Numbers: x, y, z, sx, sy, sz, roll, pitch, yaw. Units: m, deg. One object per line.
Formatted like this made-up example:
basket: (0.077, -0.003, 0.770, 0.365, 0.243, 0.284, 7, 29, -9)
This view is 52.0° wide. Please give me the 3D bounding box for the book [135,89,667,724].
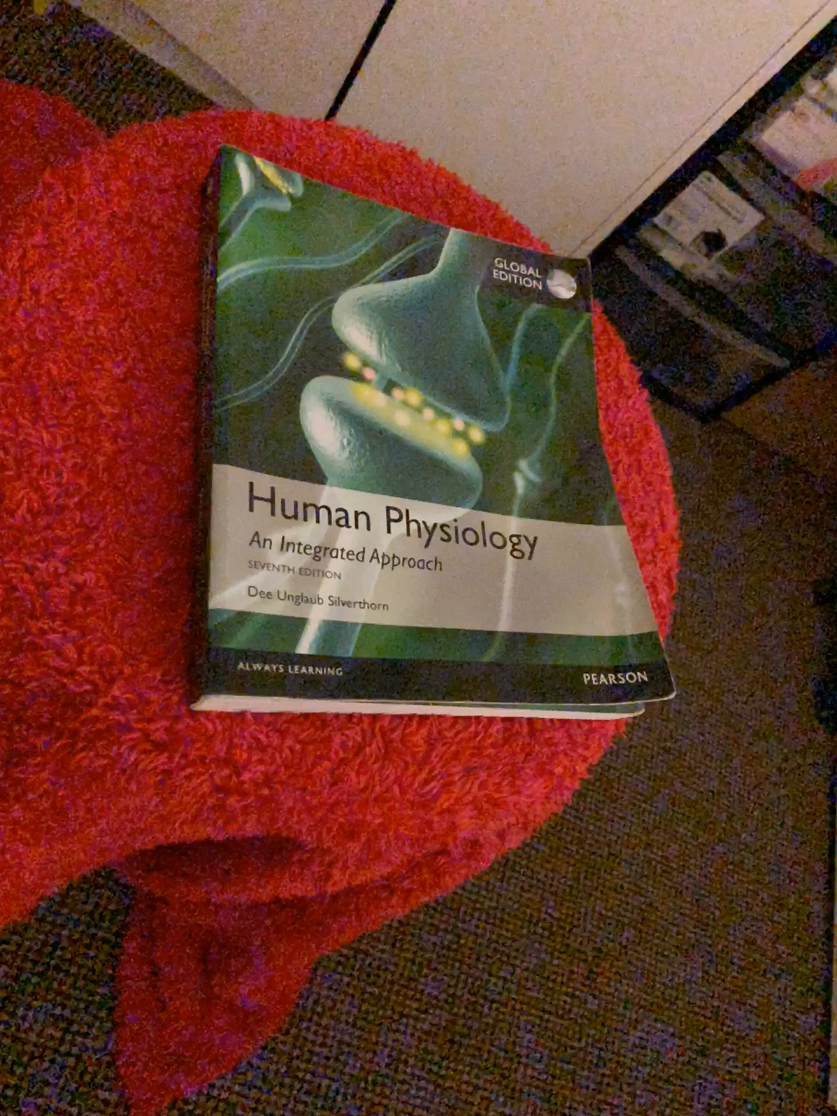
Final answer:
book: (-0.009, -0.070, 0.464, 0.251, 0.070, 0.301, 7, 66, -28)
